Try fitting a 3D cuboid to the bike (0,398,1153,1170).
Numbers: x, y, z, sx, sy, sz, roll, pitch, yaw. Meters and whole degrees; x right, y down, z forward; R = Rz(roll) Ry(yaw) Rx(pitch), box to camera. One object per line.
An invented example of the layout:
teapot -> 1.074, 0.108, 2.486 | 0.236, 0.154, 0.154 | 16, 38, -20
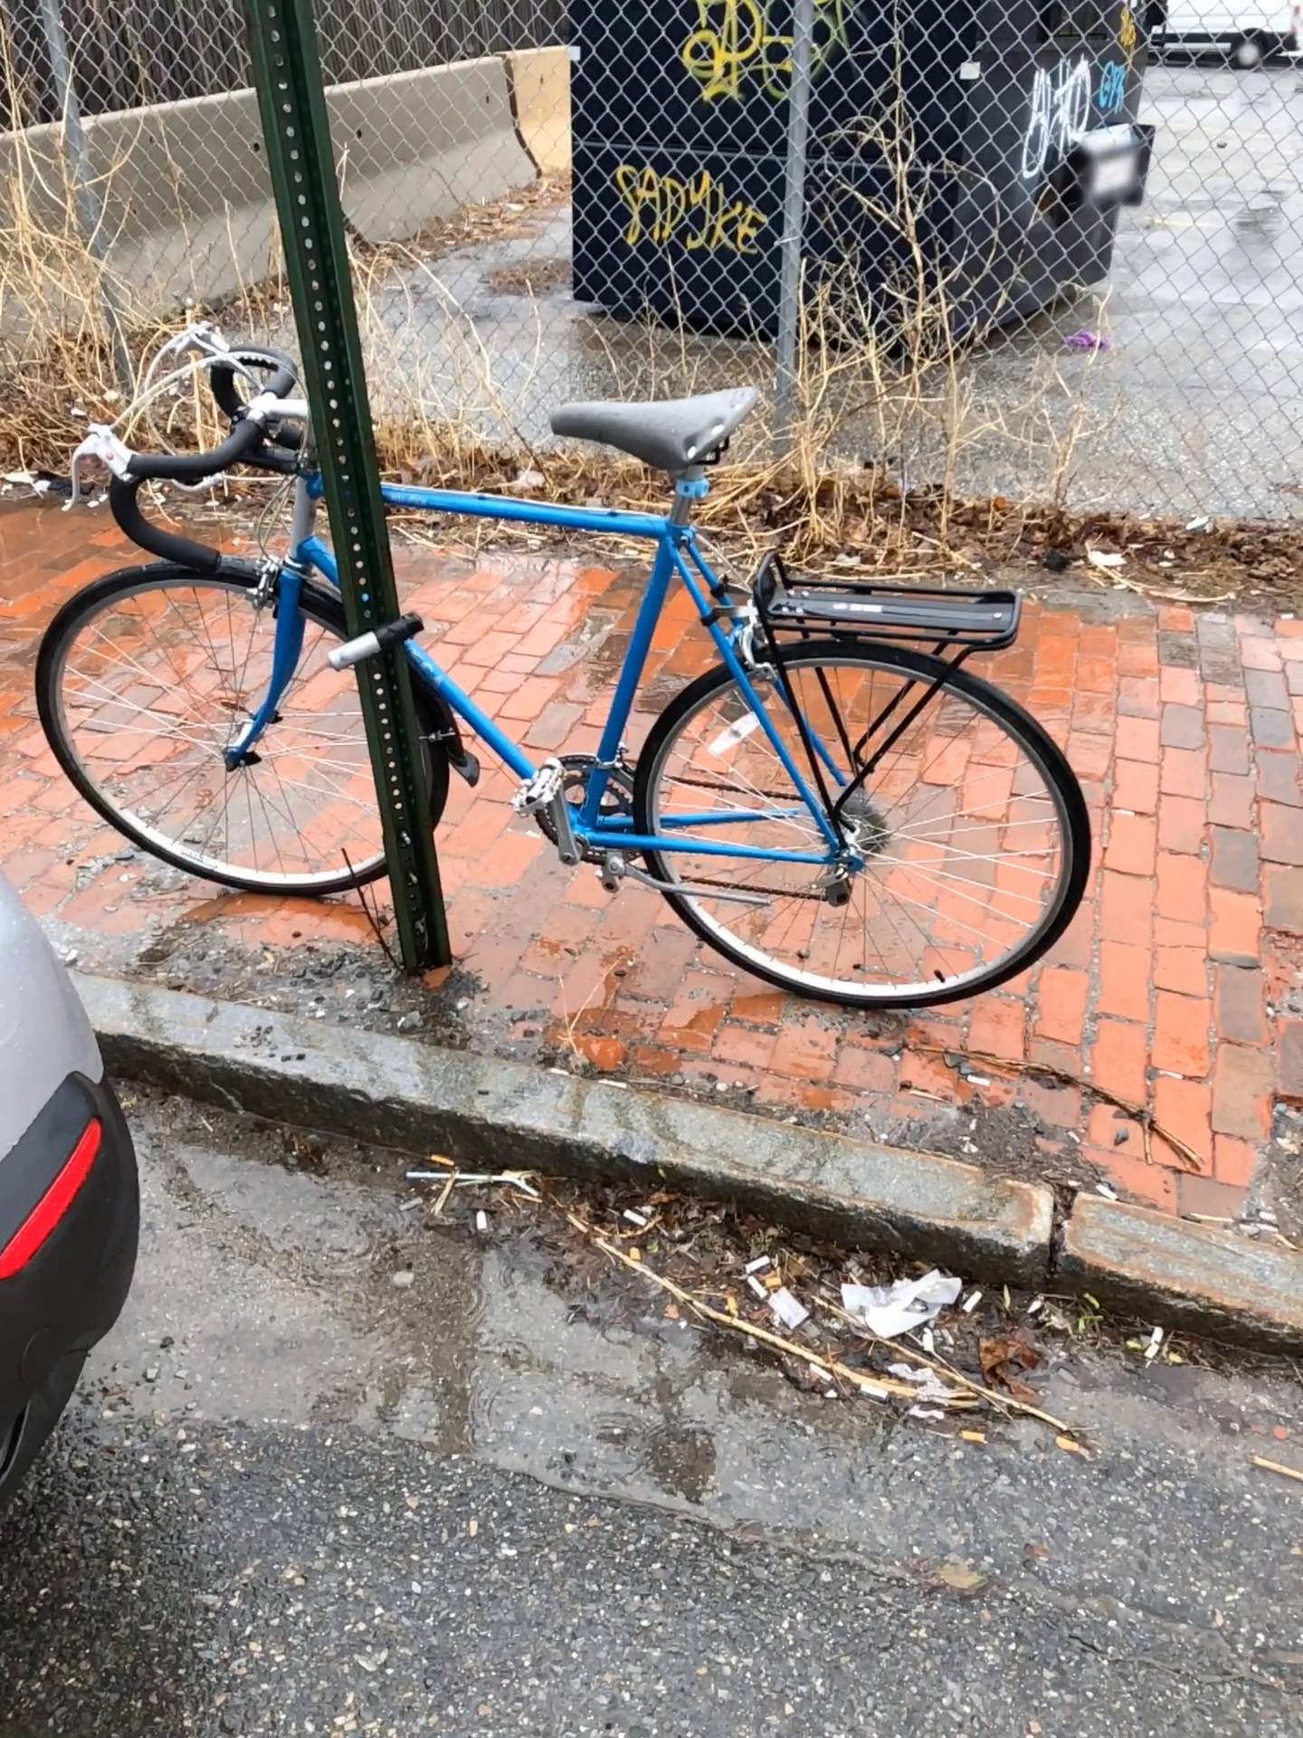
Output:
bike -> -0.236, -0.180, 2.353 | 1.864, 0.919, 0.475 | 8, 33, 12
